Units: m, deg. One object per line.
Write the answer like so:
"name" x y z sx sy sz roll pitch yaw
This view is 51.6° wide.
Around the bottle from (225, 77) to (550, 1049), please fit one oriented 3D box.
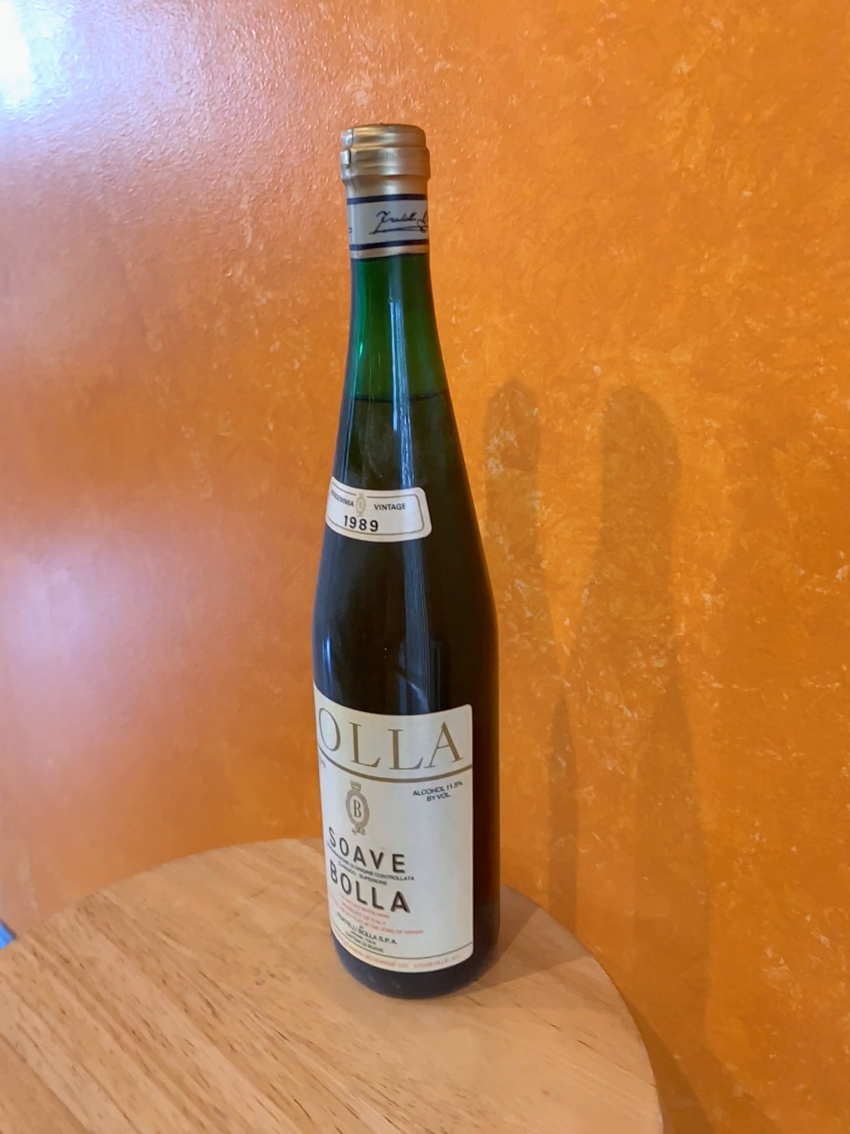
"bottle" -0.006 0.012 0.340 0.080 0.339 0.070 11 22 33
